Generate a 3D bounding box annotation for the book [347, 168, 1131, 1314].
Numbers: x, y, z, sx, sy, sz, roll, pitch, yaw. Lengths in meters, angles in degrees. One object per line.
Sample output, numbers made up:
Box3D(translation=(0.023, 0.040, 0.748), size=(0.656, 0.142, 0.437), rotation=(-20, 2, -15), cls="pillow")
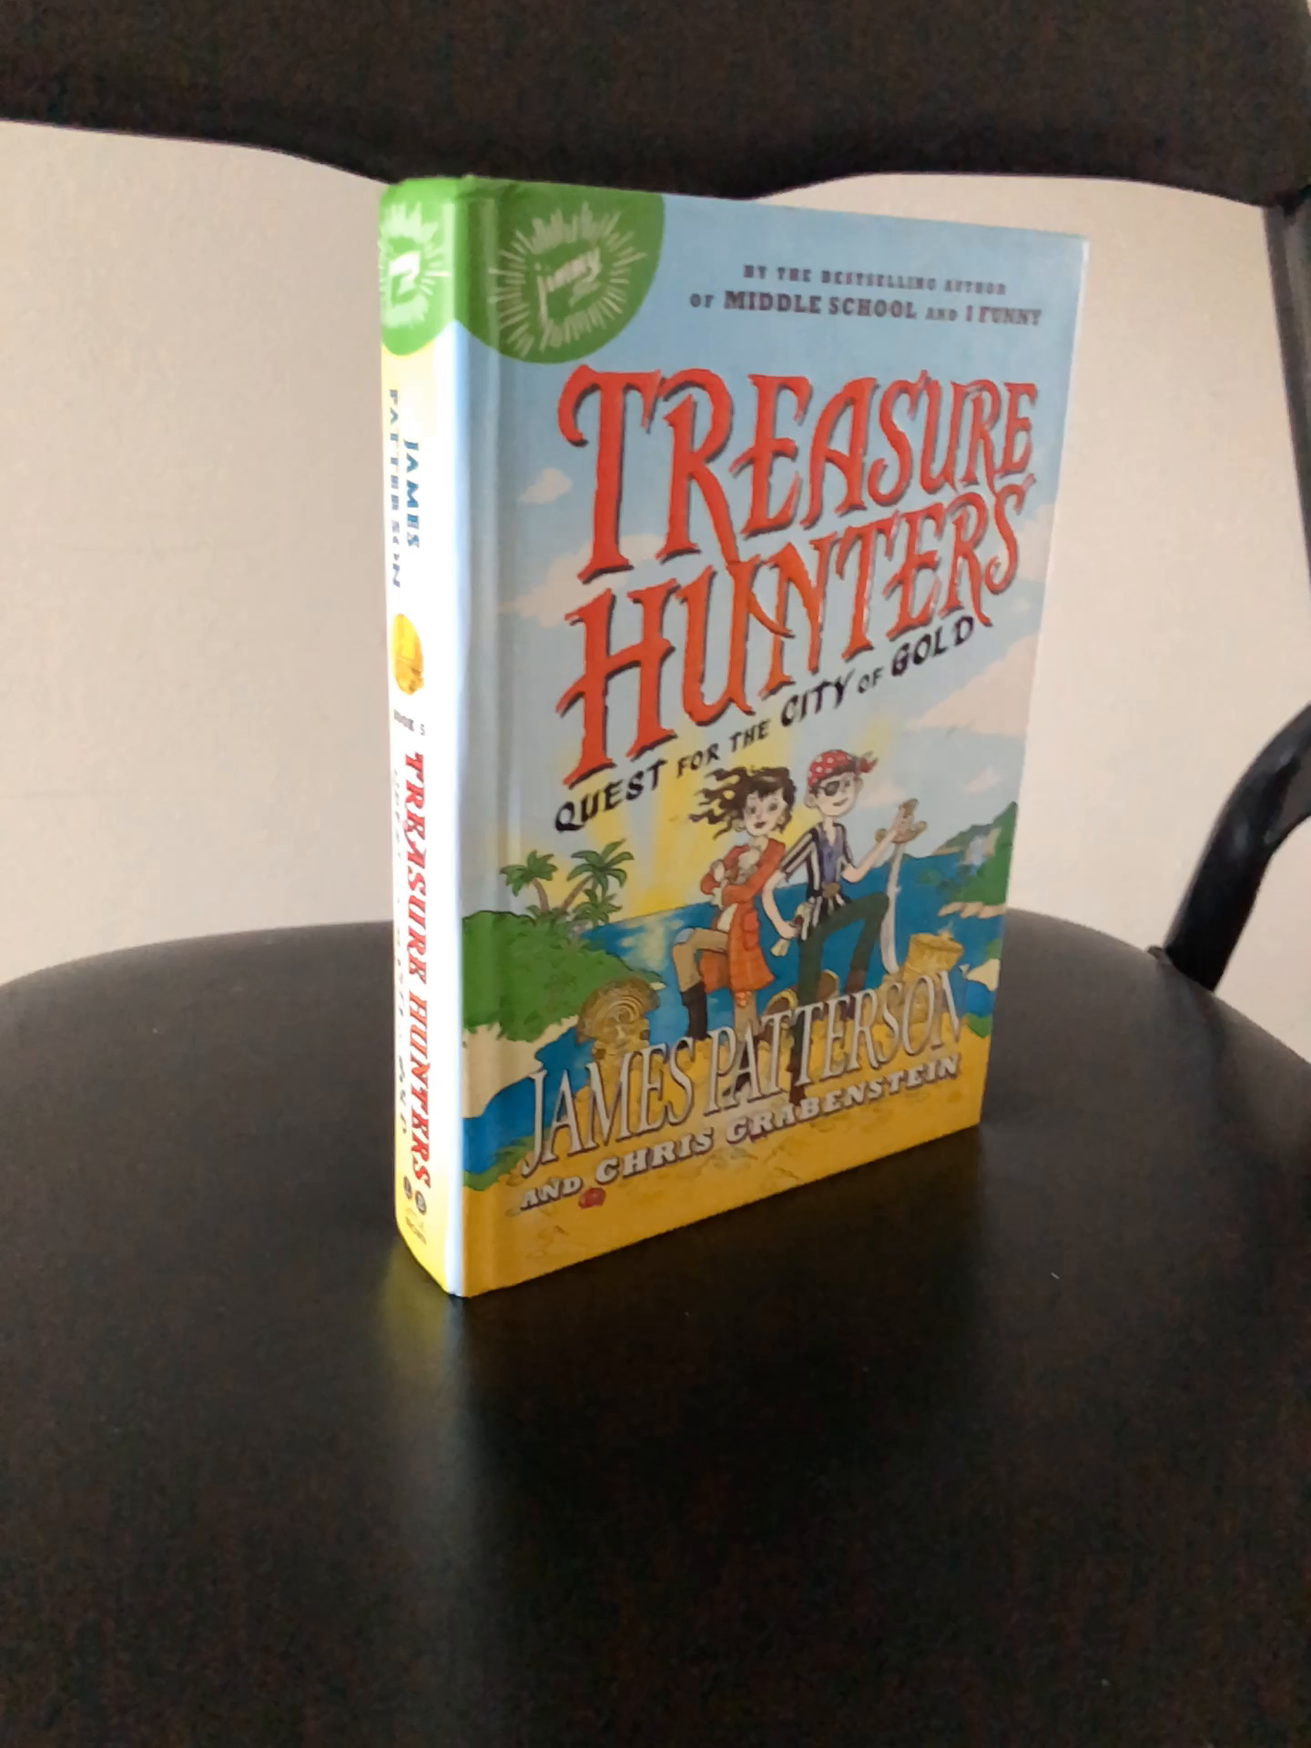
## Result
Box3D(translation=(0.017, -0.028, 0.317), size=(0.155, 0.215, 0.040), rotation=(-11, 26, -31), cls="book")
